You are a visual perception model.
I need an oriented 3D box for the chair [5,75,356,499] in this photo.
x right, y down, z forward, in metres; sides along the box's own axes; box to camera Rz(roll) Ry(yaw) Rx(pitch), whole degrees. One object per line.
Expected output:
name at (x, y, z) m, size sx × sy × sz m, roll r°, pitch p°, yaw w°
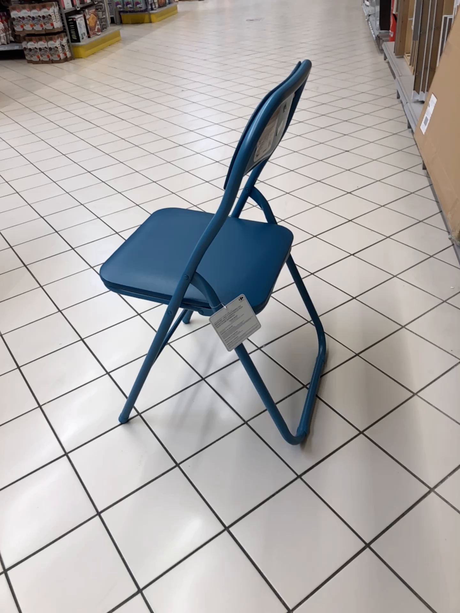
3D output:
chair at (-0.030, -0.075, 1.160) m, size 0.500 × 0.766 × 0.503 m, roll 9°, pitch 35°, yaw 20°
